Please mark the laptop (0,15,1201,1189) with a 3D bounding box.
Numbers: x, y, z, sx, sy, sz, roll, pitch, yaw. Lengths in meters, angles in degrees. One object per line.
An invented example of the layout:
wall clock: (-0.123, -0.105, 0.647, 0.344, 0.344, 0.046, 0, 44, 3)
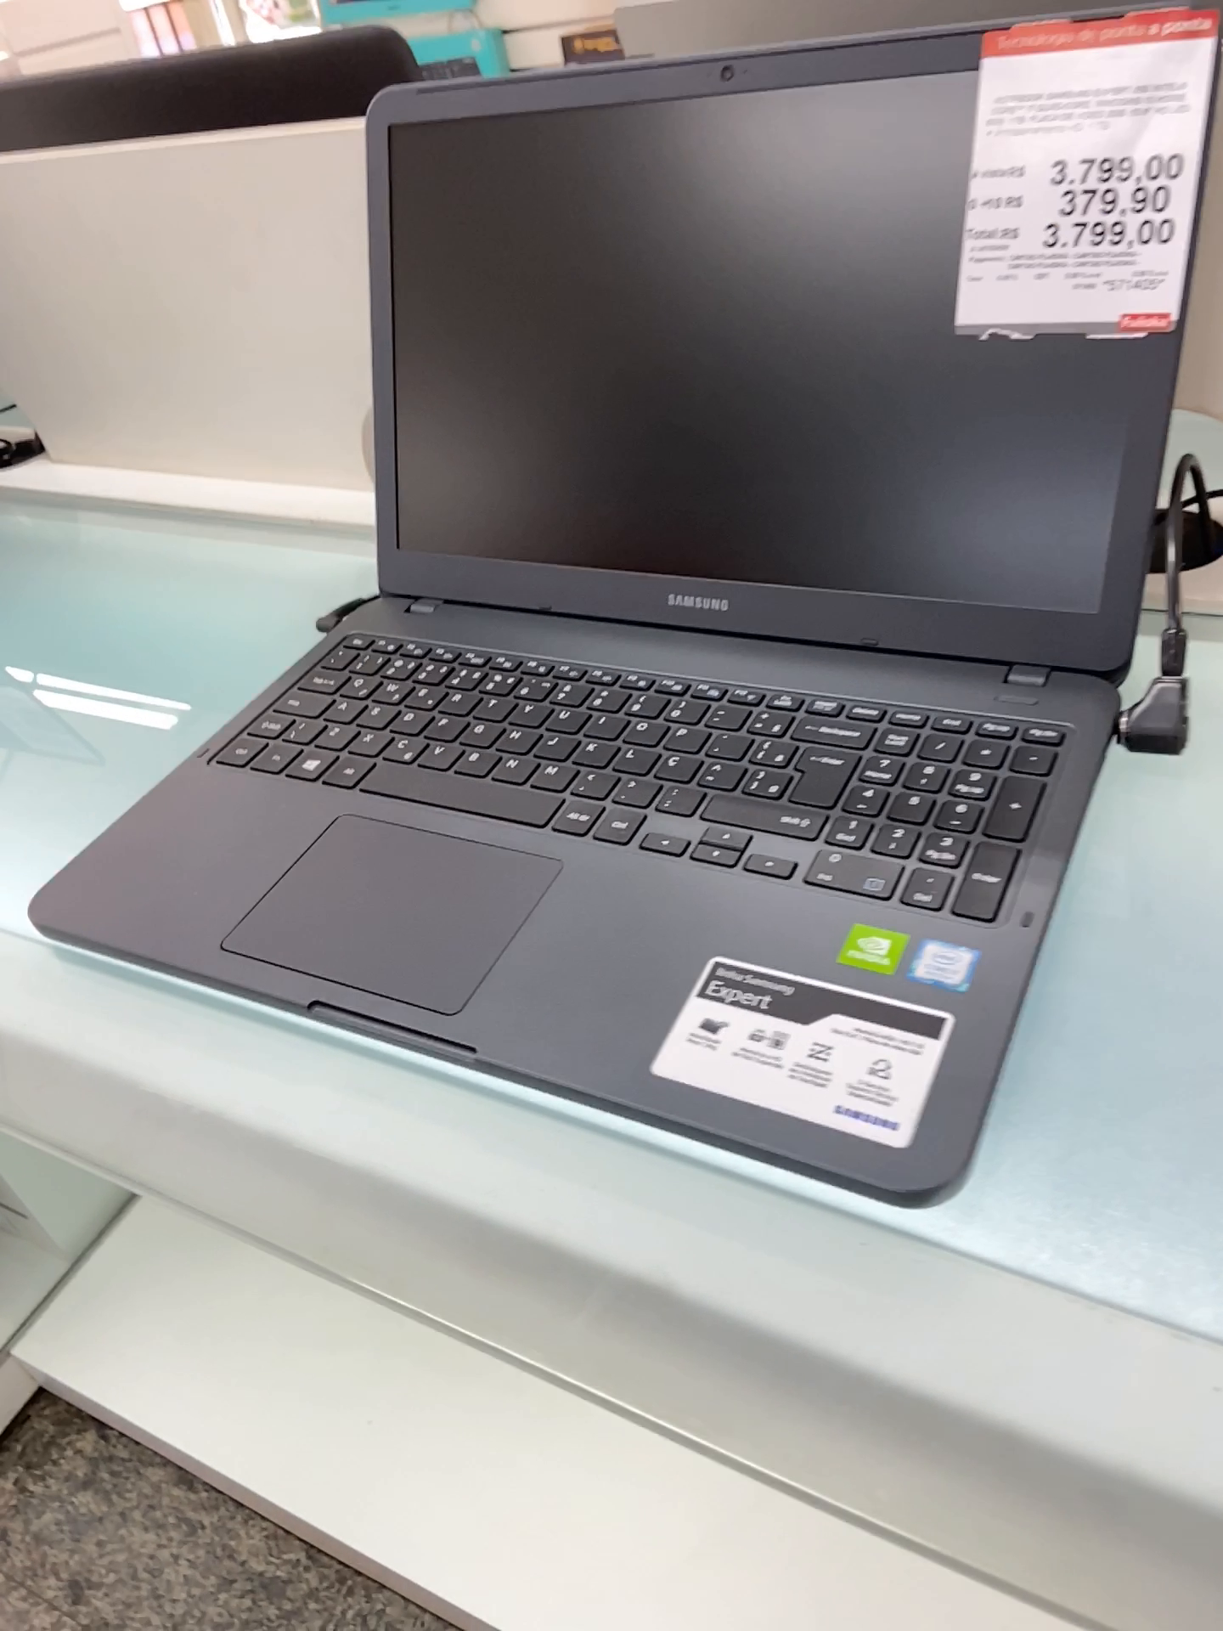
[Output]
laptop: (-0.016, -0.117, 0.464, 0.363, 0.208, 0.343, 11, 44, 27)
